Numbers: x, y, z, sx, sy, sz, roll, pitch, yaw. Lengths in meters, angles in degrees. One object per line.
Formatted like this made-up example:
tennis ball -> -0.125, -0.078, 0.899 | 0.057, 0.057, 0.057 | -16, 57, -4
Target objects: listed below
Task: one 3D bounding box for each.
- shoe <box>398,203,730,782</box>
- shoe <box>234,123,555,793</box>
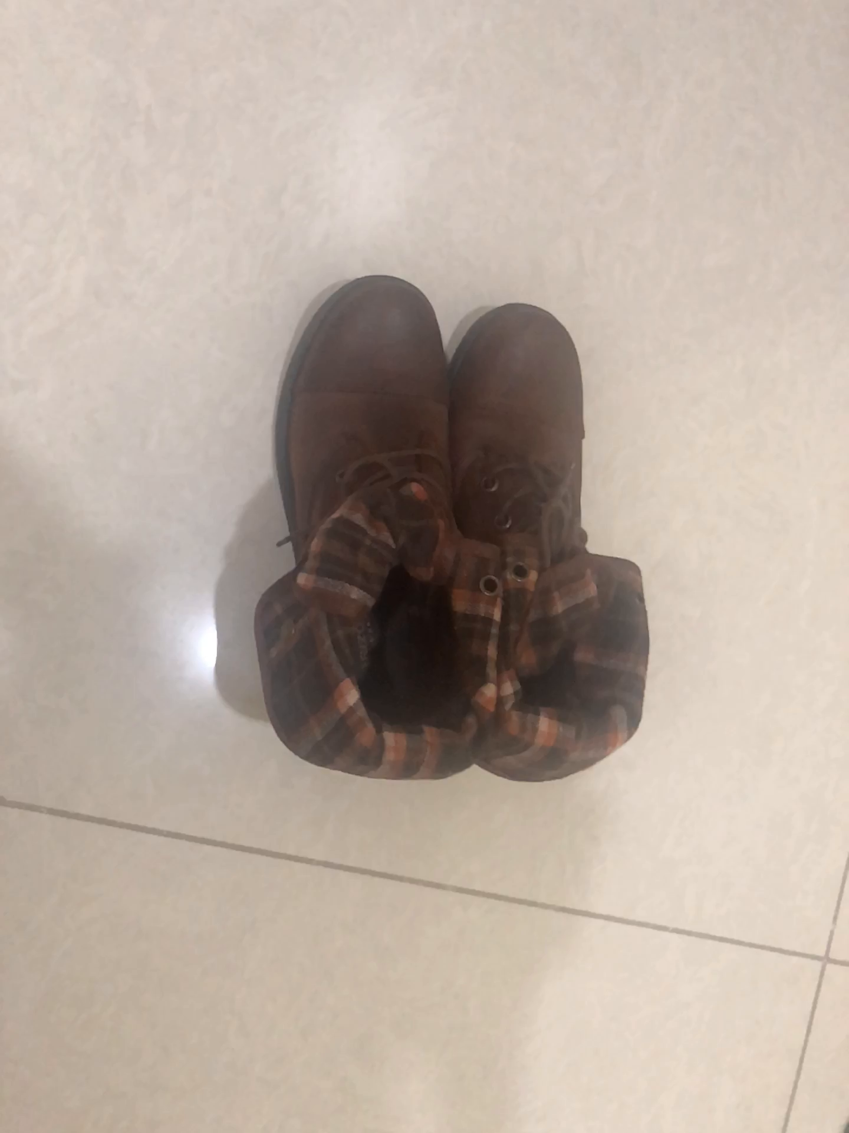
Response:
shoe -> 0.070, -0.032, 0.522 | 0.100, 0.140, 0.270 | 6, 89, -22
shoe -> -0.024, -0.044, 0.484 | 0.110, 0.150, 0.280 | 2, 90, -22
